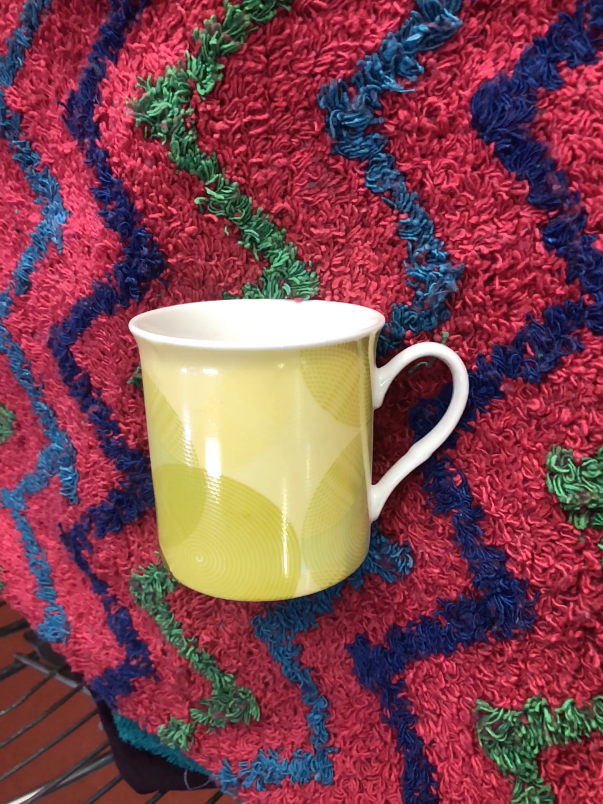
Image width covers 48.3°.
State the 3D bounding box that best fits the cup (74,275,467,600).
[{"bbox_3d":[-0.006,0.007,0.238,0.110,0.080,0.090,-2,106,3],"label":"cup"}]
